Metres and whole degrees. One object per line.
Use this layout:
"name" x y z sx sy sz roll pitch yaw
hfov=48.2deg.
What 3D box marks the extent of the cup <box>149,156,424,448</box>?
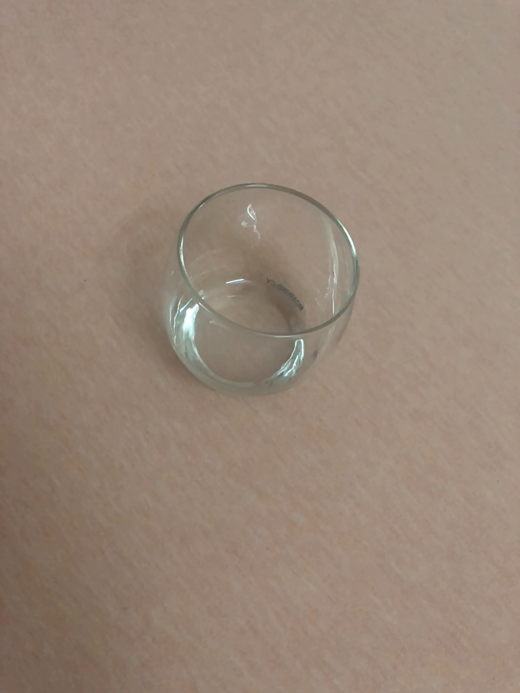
"cup" 0.004 -0.020 0.300 0.090 0.100 0.090 5 63 -10
